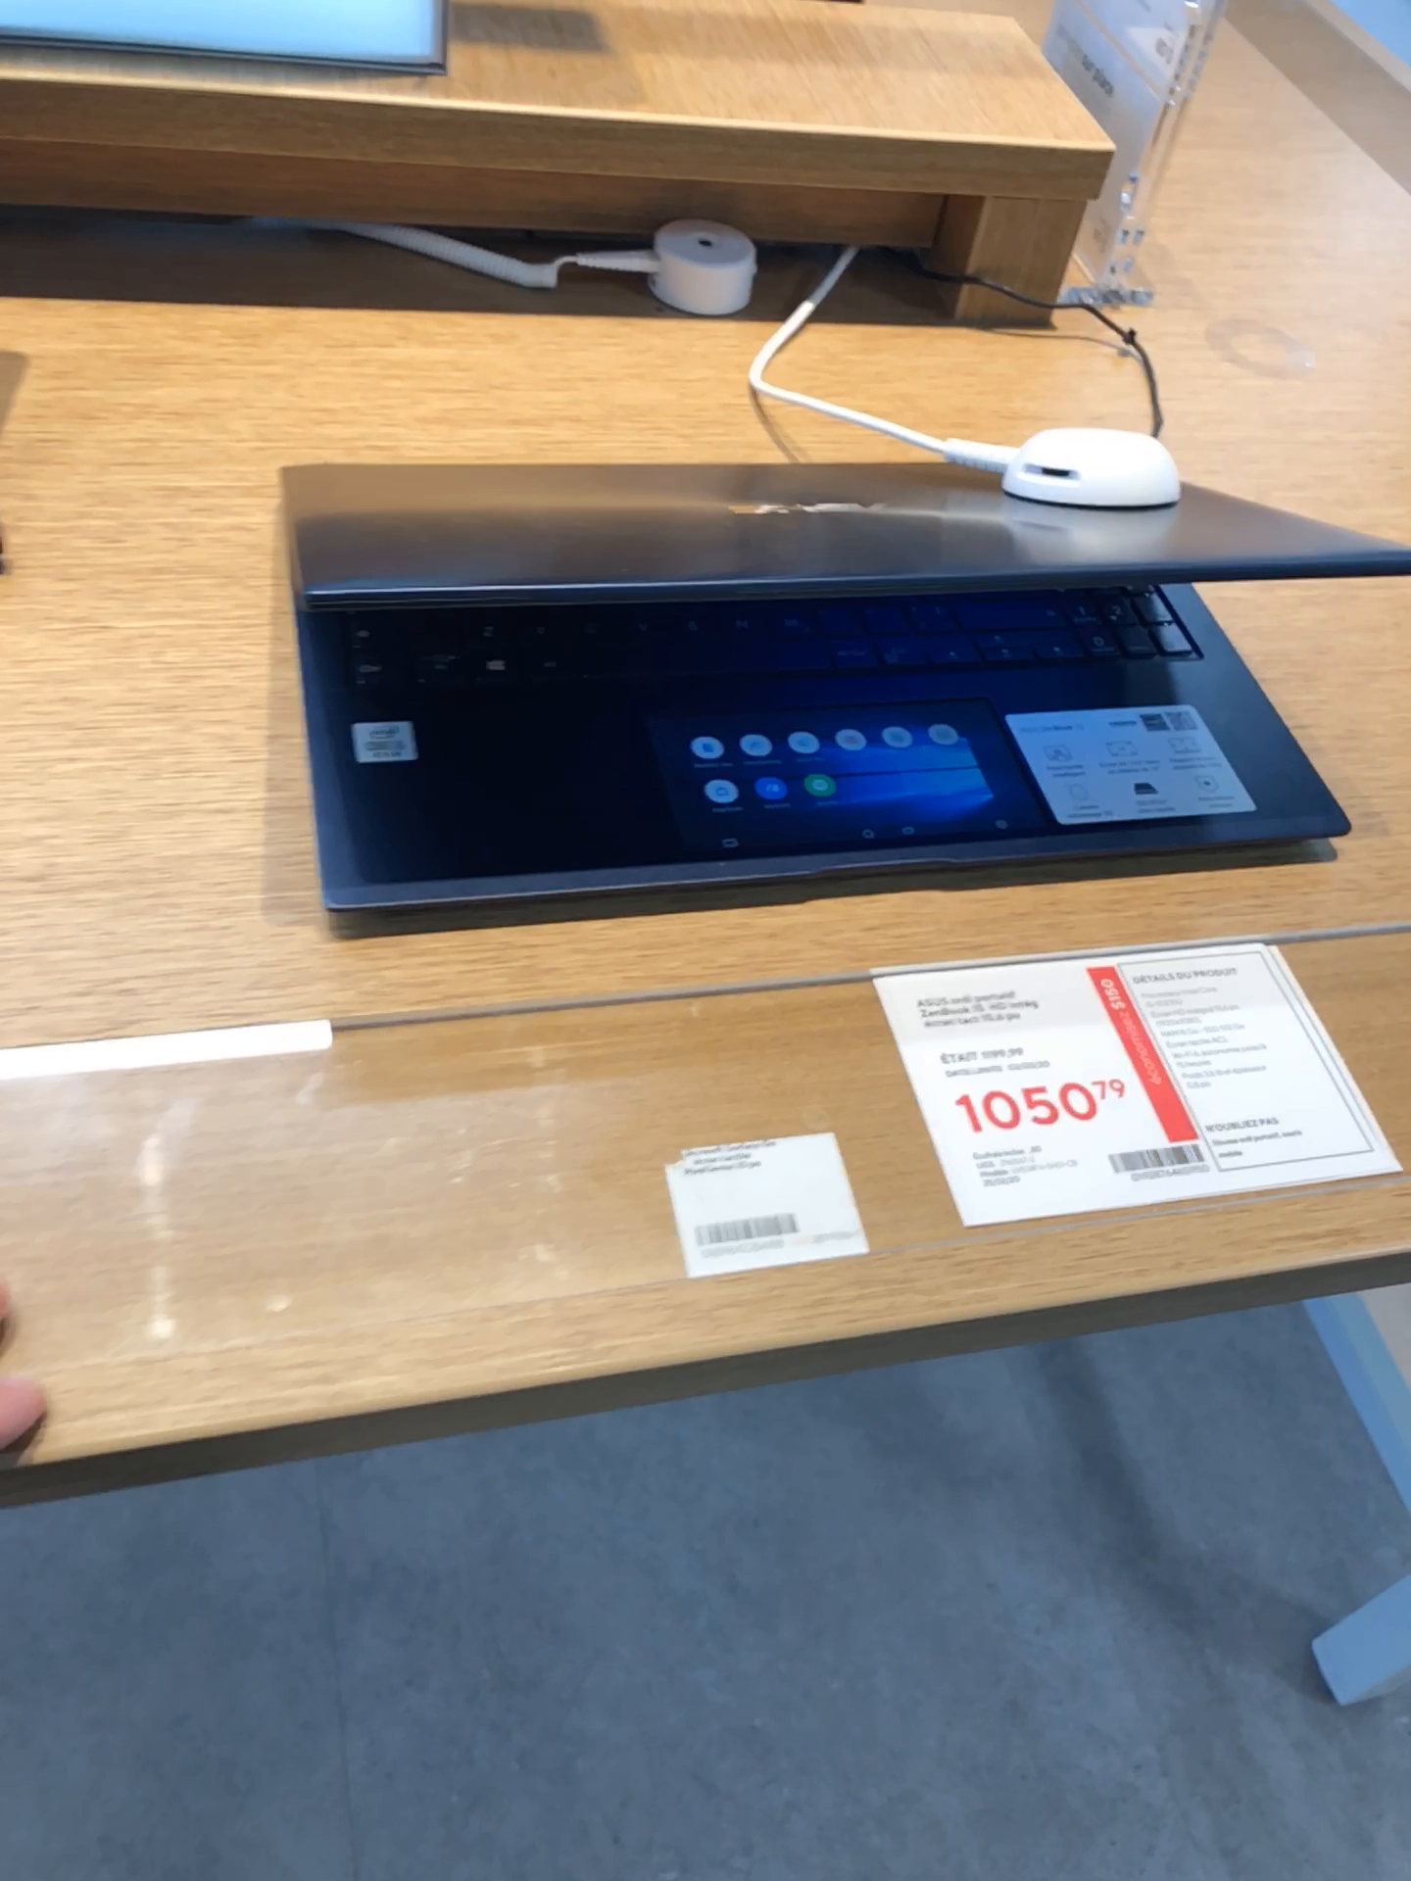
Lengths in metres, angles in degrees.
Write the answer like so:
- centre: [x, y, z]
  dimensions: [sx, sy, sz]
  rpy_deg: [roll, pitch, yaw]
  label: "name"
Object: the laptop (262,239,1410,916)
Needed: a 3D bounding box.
- centre: [0.040, -0.133, 0.528]
  dimensions: [0.352, 0.098, 0.209]
  rpy_deg: [-5, 50, -16]
  label: "laptop"
